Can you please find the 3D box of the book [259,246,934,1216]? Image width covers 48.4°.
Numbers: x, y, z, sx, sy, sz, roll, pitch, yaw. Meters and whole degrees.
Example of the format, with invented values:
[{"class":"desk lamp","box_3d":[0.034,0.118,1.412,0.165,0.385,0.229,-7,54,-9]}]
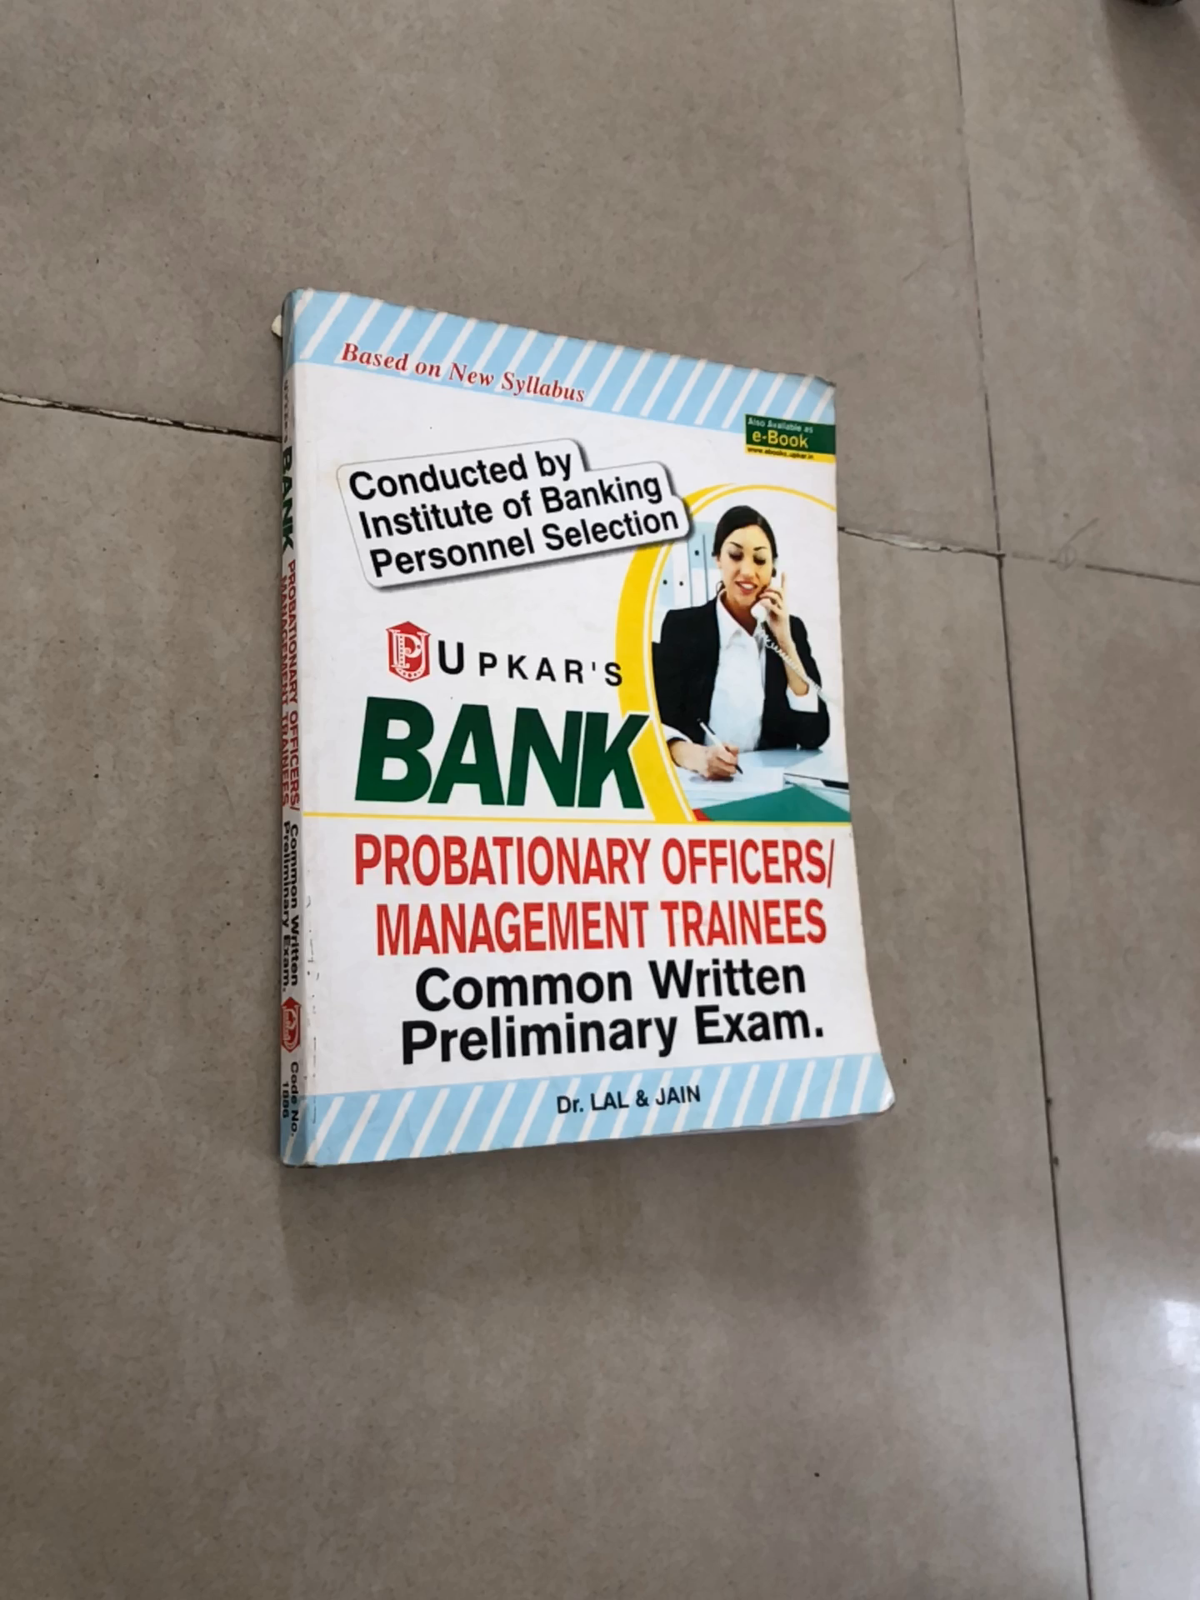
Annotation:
[{"class":"book","box_3d":[0.003,-0.015,0.370,0.180,0.040,0.230,3,82,-26]}]
